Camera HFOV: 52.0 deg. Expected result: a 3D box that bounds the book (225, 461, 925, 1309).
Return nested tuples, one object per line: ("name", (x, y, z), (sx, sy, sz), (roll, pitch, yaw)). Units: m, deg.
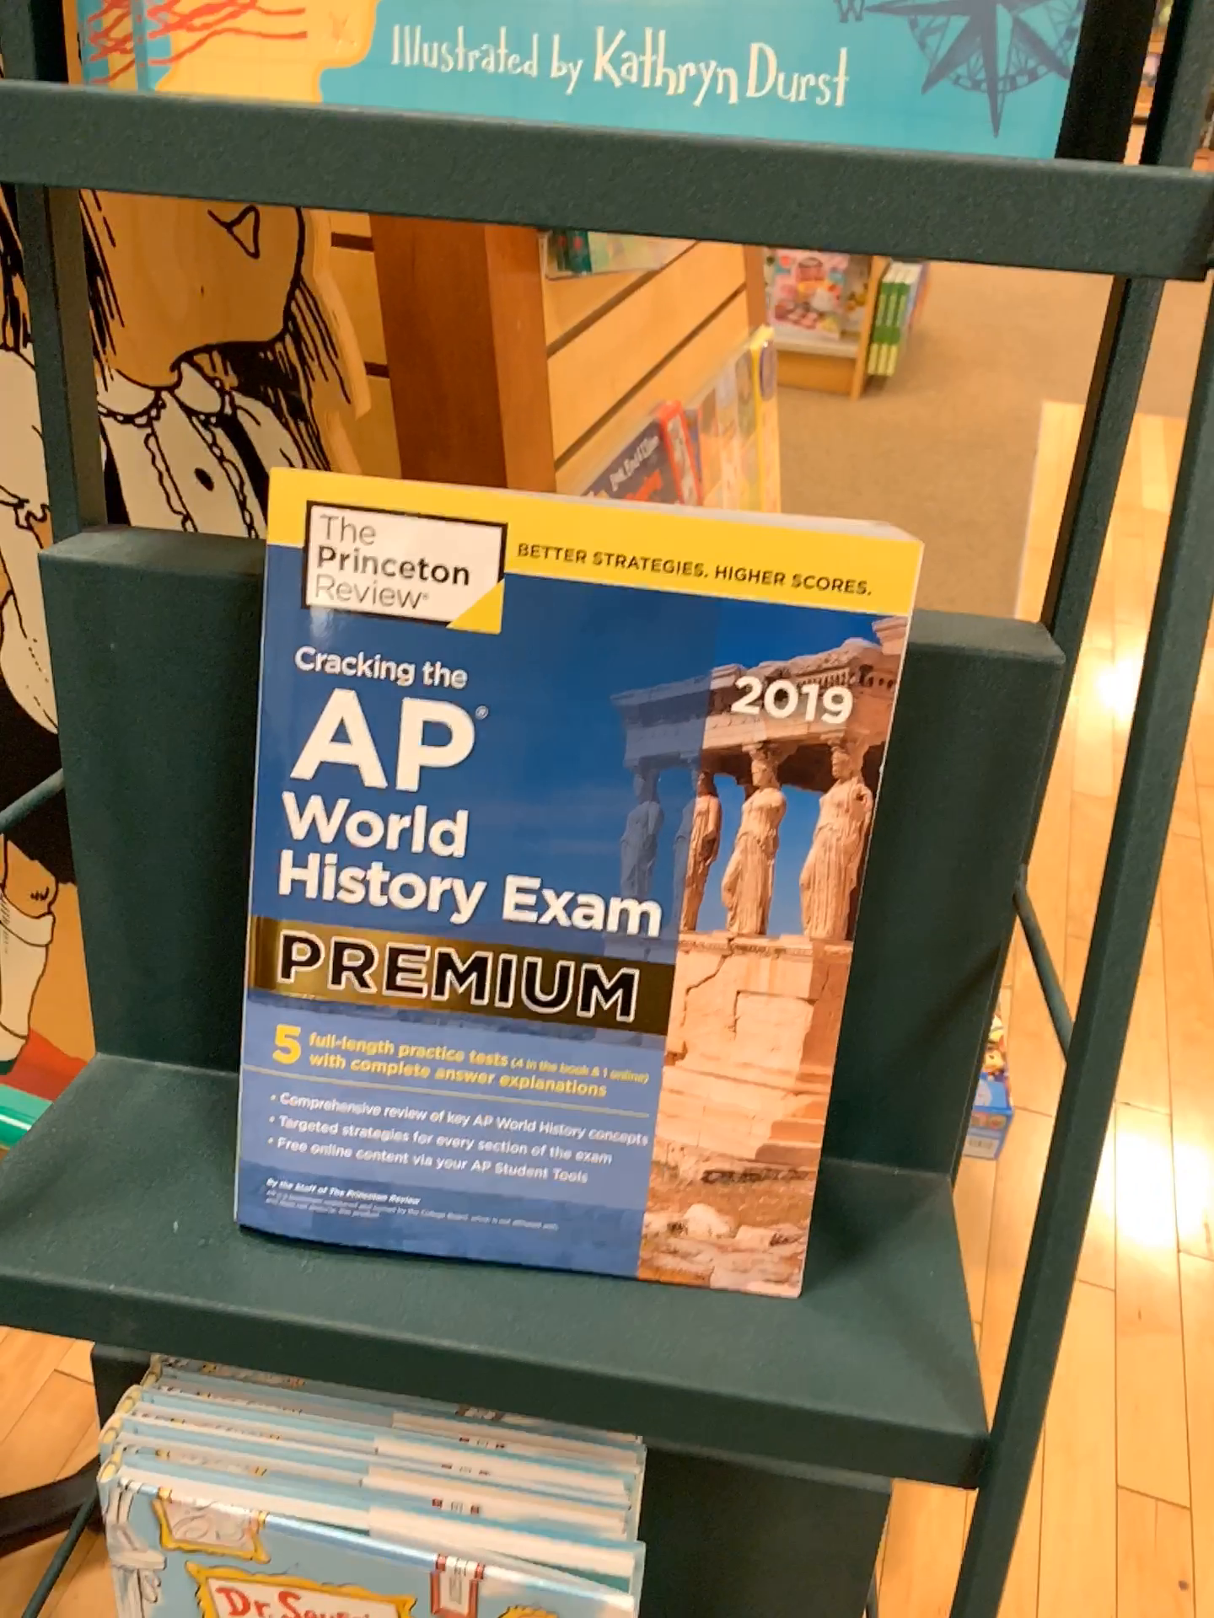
("book", (-0.018, 0.026, 0.441), (0.214, 0.269, 0.057), (6, 12, 4))
